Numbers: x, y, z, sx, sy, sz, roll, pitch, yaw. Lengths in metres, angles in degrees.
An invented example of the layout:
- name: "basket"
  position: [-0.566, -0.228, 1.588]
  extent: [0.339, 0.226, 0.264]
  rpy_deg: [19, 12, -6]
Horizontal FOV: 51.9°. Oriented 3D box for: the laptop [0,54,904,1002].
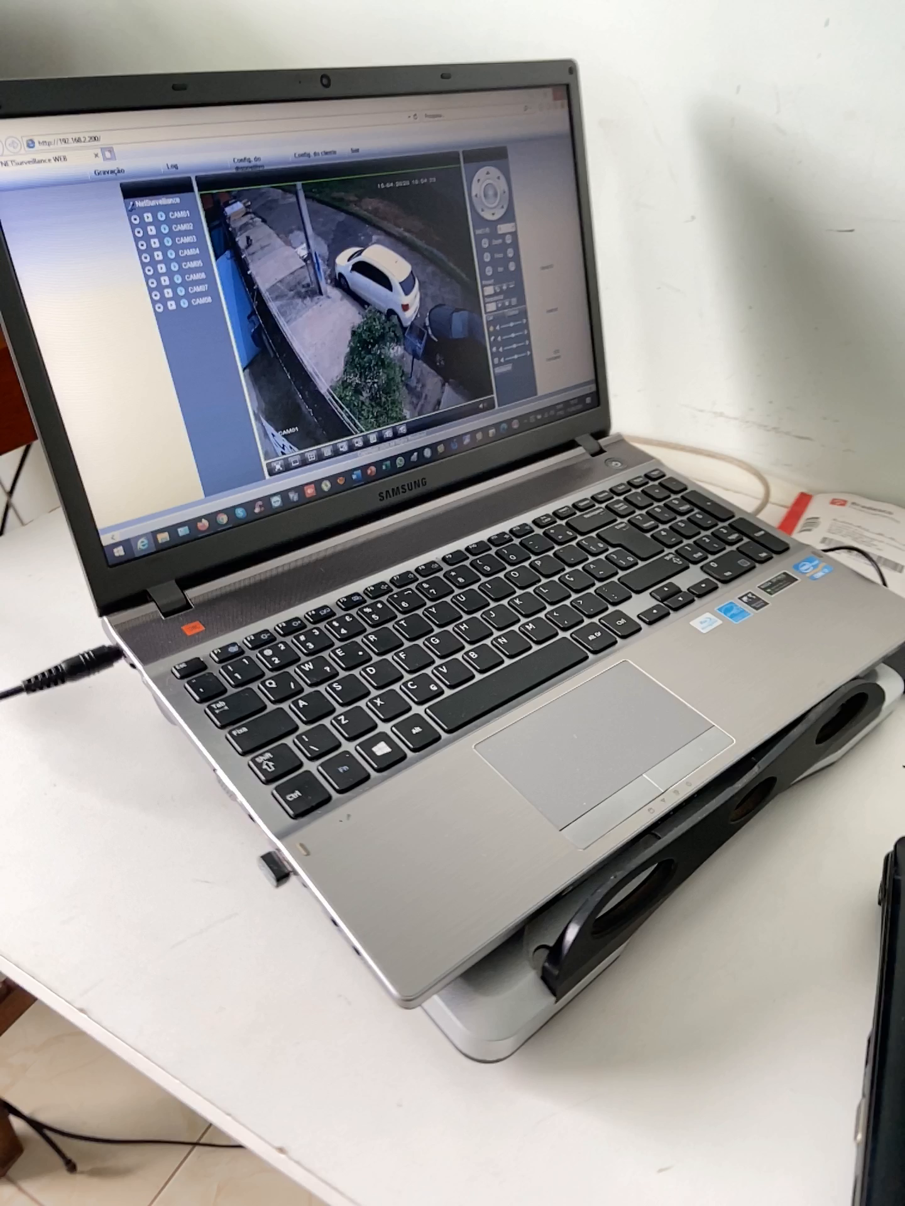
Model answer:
- name: "laptop"
  position: [0.025, -0.104, 0.445]
  extent: [0.368, 0.213, 0.335]
  rpy_deg: [-24, 47, -33]
